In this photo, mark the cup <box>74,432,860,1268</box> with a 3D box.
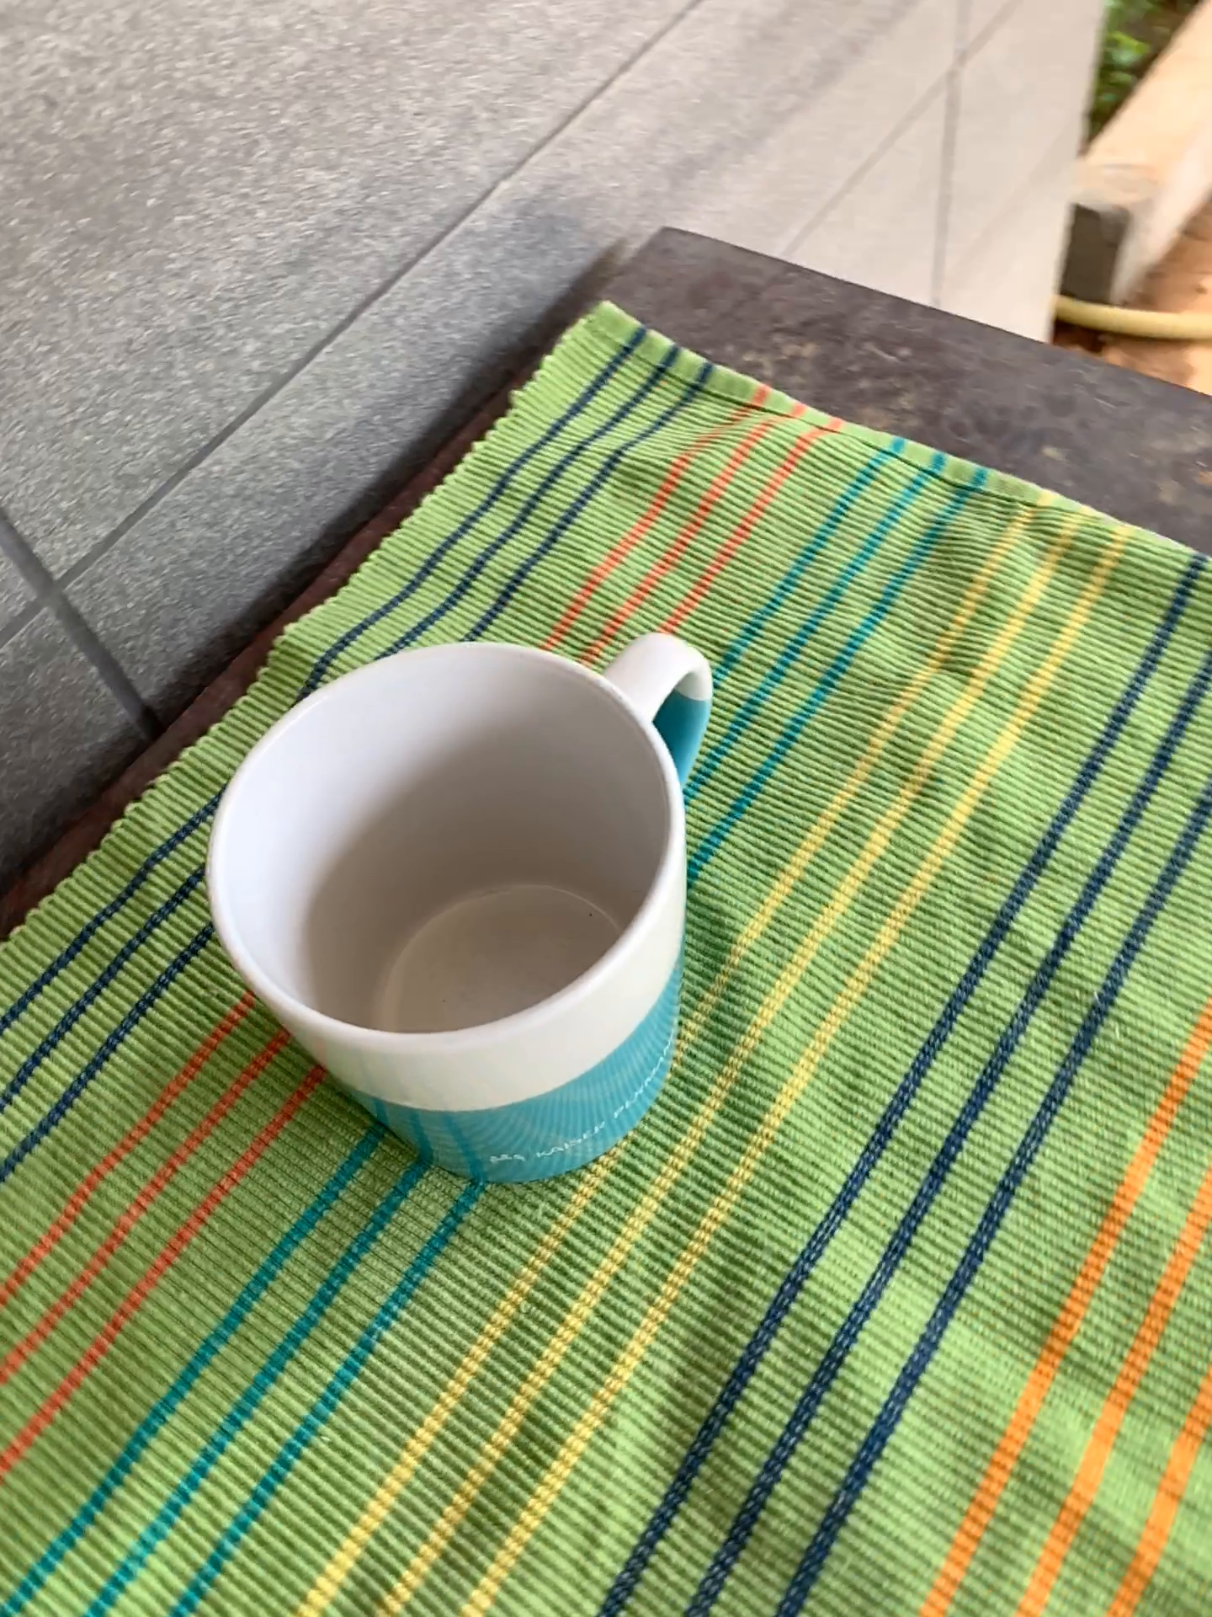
[{"bbox_3d":[-0.019,0.008,0.296,0.100,0.100,0.140,25,65,23],"label":"cup"}]
